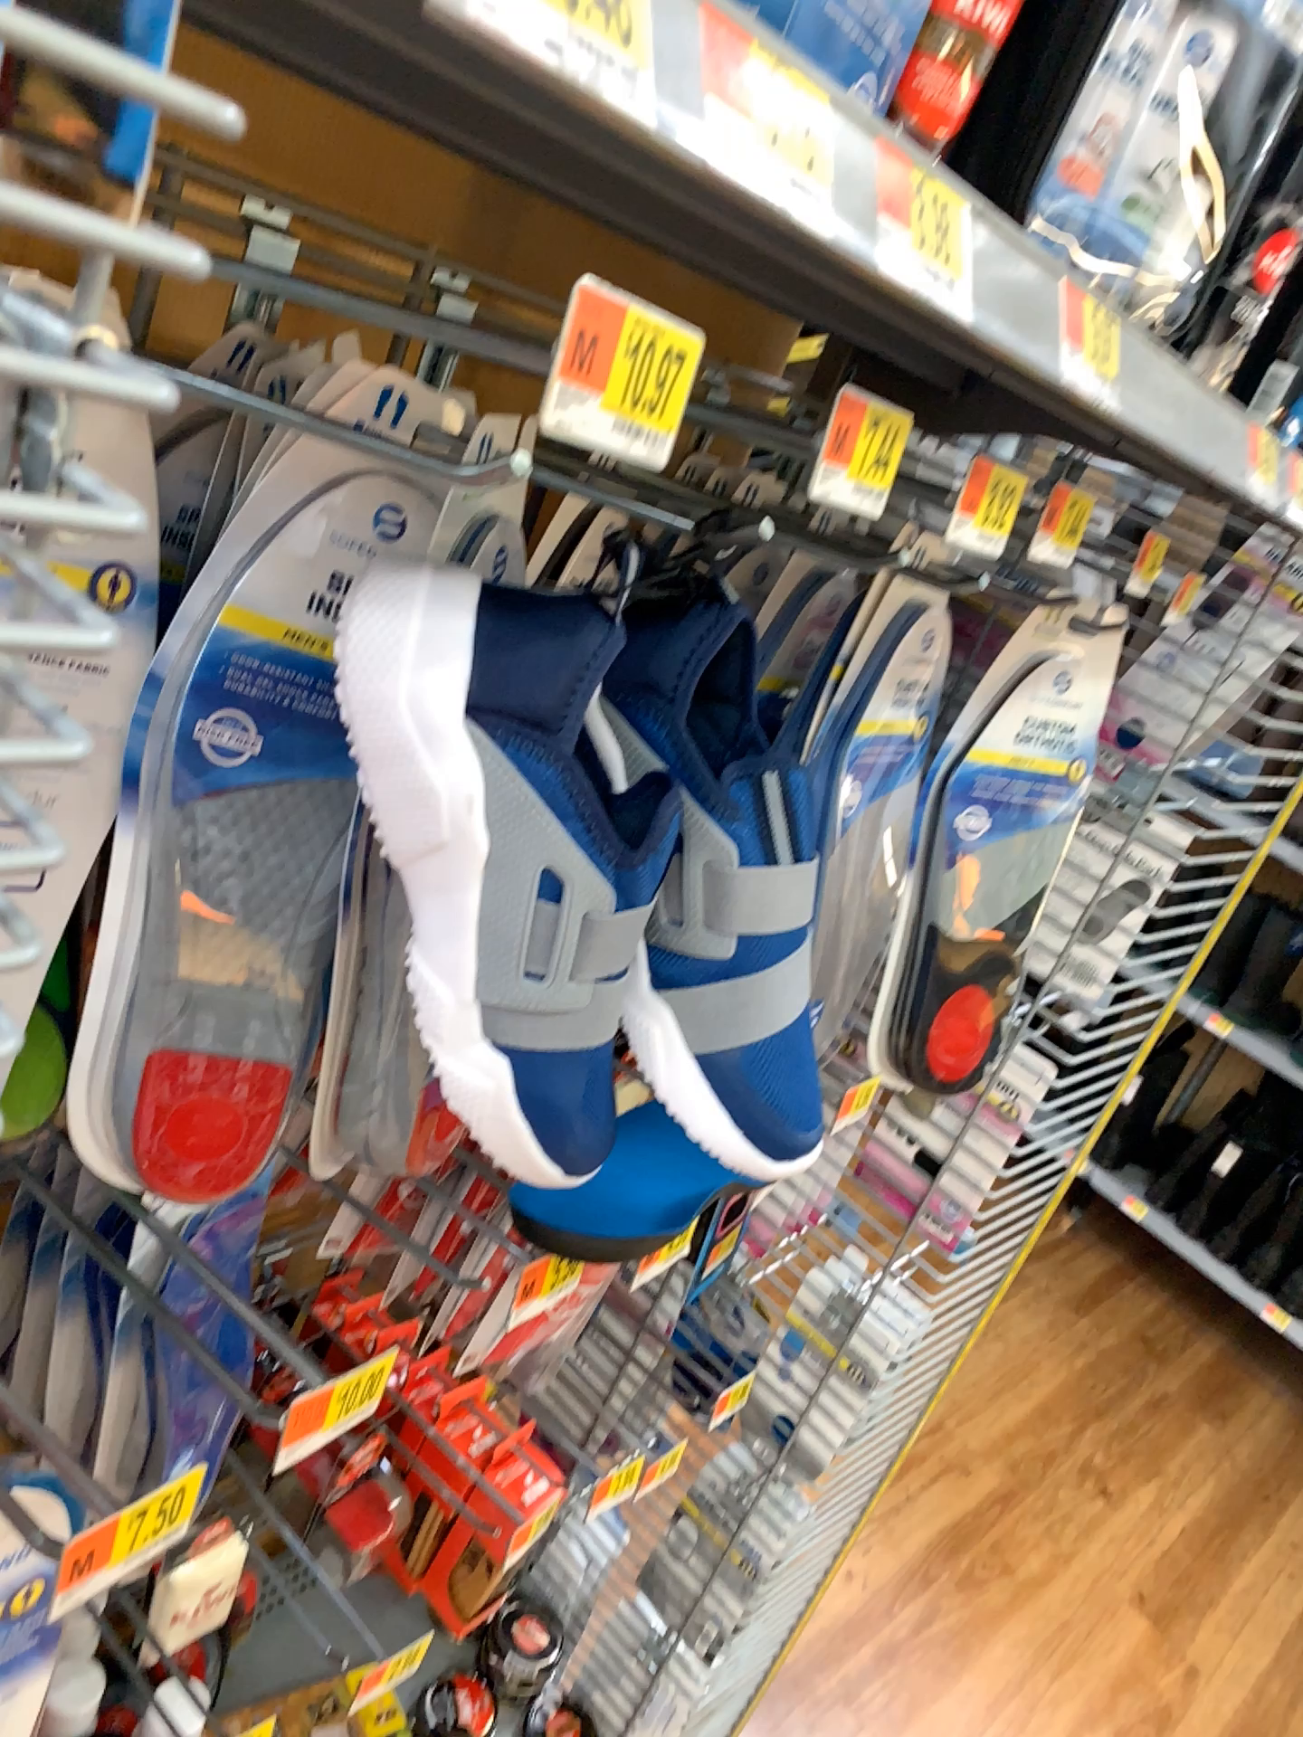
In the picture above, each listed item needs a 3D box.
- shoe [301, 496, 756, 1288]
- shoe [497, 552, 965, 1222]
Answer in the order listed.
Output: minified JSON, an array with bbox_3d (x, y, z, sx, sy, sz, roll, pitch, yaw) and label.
[{"bbox_3d":[-0.029,0.010,0.460,0.098,0.244,0.096,-7,22,6],"label":"shoe"},{"bbox_3d":[0.035,0.006,0.525,0.098,0.232,0.101,-12,3,31],"label":"shoe"}]
